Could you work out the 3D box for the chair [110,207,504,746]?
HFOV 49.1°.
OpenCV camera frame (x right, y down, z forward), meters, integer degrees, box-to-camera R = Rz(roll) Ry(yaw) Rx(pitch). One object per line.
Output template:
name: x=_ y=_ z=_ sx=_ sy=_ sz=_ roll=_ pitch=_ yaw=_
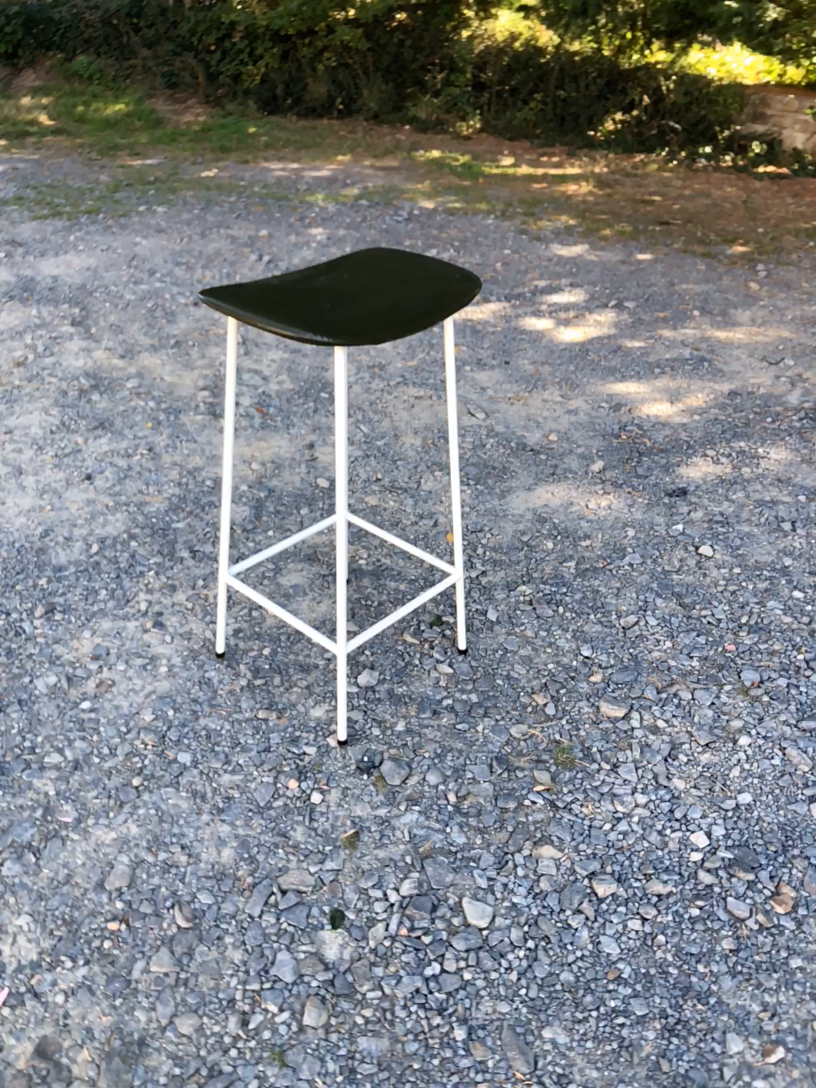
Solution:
chair: x=-0.128 y=-0.116 z=1.367 sx=0.370 sy=0.646 sz=0.372 roll=26 pitch=42 yaw=35
